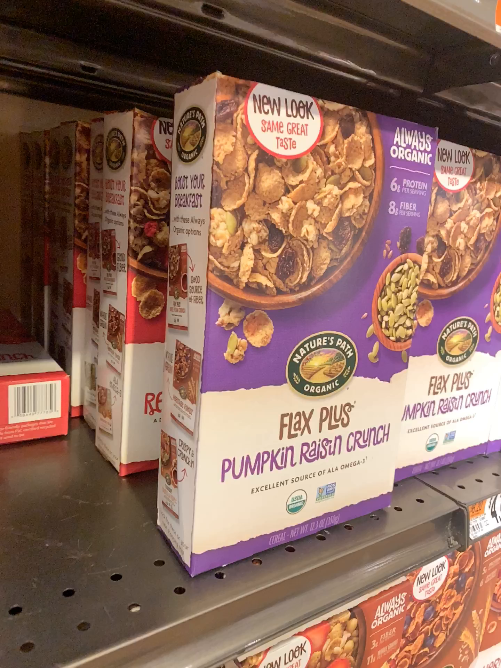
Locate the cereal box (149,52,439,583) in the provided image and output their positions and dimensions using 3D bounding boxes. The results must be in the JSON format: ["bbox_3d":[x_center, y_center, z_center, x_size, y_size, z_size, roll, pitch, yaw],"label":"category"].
[{"bbox_3d":[0.029,-0.006,0.327,0.170,0.269,0.050,-3,11,-34],"label":"cereal box"}]
